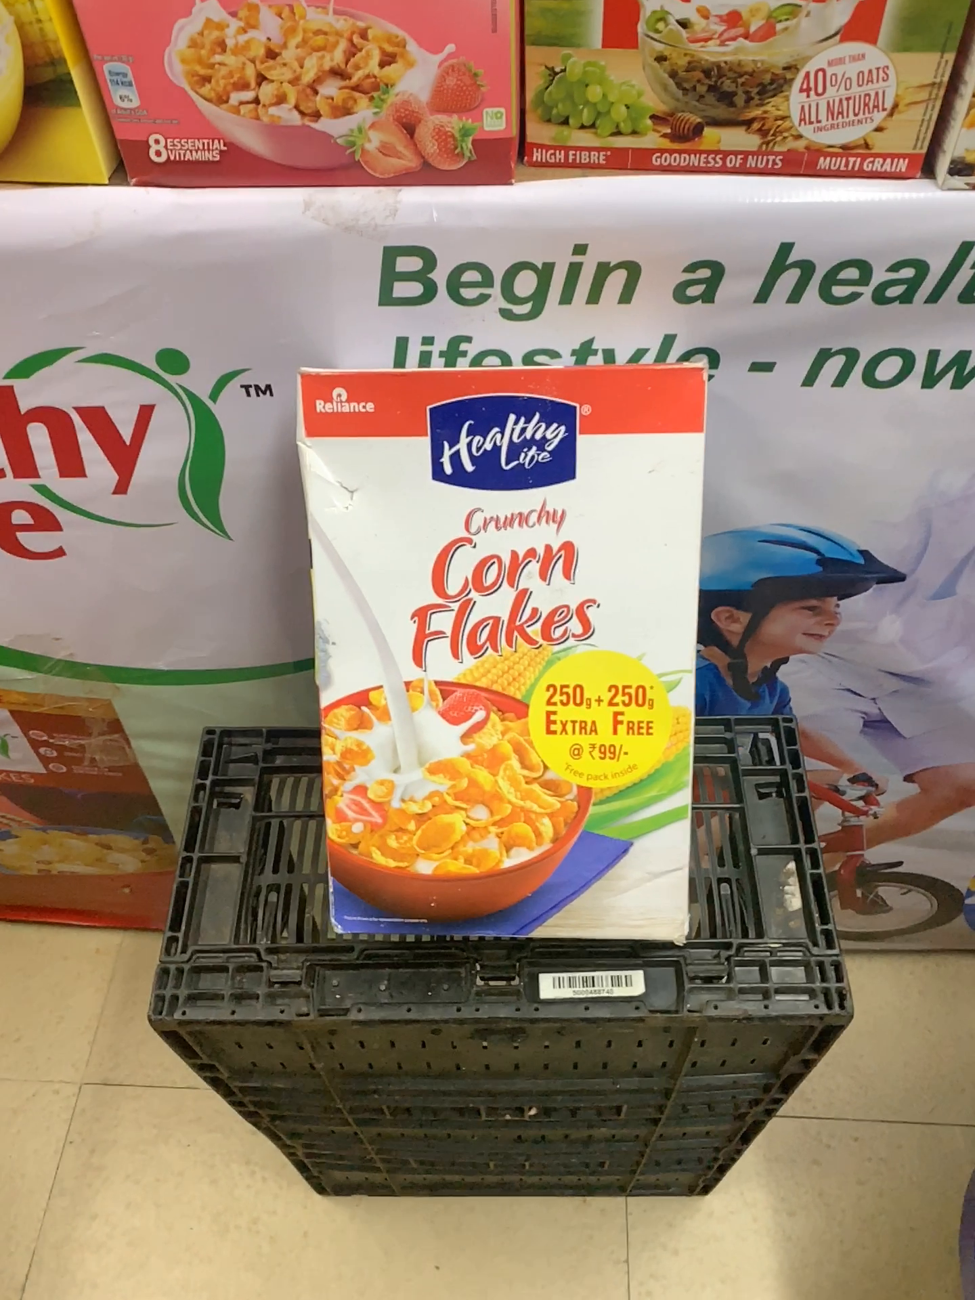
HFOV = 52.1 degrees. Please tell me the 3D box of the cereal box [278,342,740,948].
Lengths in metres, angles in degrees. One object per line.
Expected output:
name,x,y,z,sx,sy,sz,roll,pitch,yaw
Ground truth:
cereal box,0.014,-0.004,0.508,0.200,0.280,0.100,0,11,4
